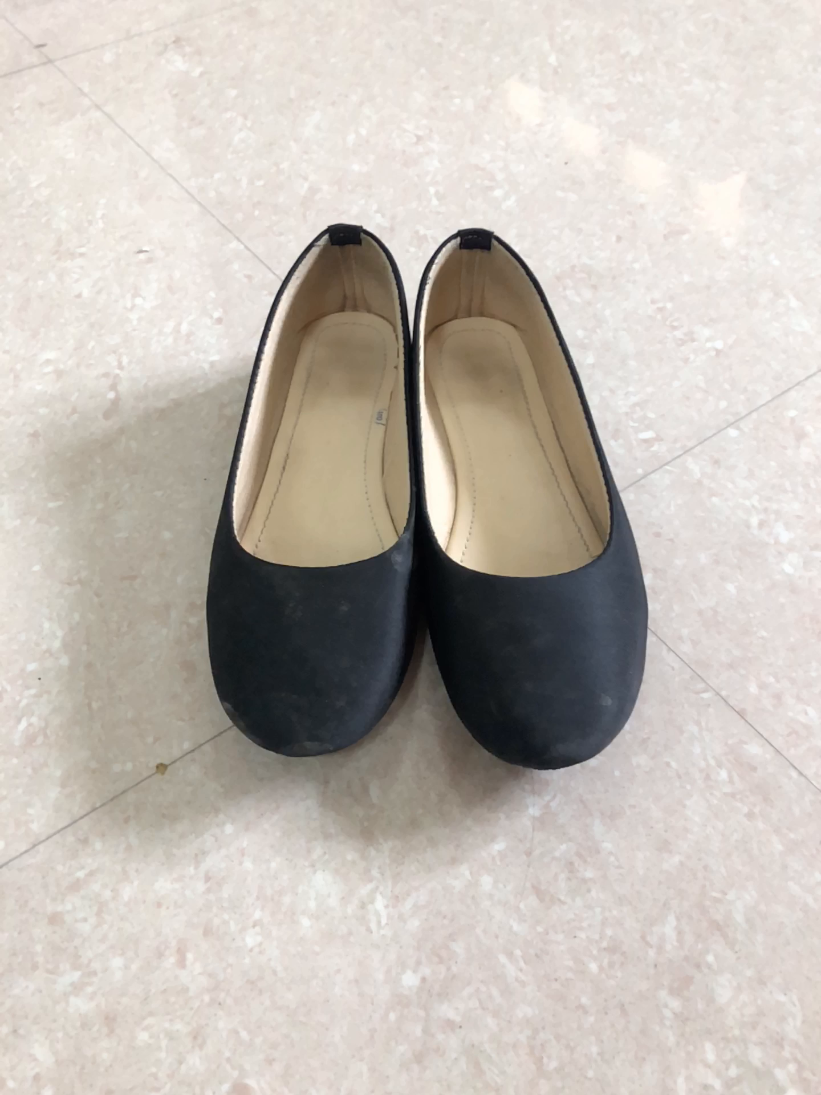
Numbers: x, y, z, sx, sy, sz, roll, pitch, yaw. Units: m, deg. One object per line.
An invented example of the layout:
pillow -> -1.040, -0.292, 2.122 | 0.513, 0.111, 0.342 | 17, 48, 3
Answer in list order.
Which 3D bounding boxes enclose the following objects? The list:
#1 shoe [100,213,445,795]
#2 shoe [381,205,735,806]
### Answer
shoe -> -0.036, -0.032, 0.364 | 0.092, 0.075, 0.240 | 1, 52, 3
shoe -> 0.040, -0.031, 0.358 | 0.092, 0.075, 0.240 | -3, 52, 0
